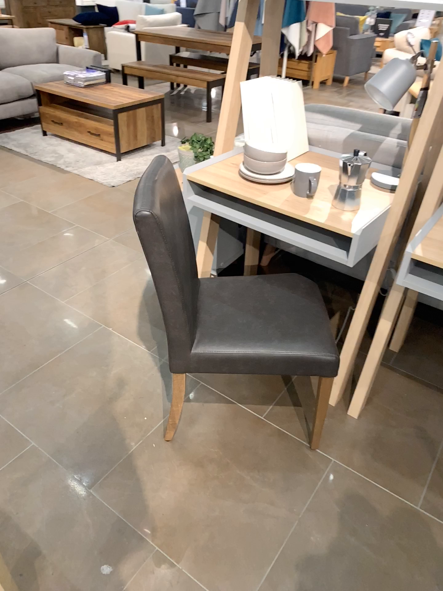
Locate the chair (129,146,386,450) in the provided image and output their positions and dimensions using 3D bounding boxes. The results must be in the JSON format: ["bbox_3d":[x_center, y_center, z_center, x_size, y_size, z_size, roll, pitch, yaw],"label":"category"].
[{"bbox_3d":[0.069,0.033,1.500,0.604,0.887,0.461,2,35,-1],"label":"chair"}]
